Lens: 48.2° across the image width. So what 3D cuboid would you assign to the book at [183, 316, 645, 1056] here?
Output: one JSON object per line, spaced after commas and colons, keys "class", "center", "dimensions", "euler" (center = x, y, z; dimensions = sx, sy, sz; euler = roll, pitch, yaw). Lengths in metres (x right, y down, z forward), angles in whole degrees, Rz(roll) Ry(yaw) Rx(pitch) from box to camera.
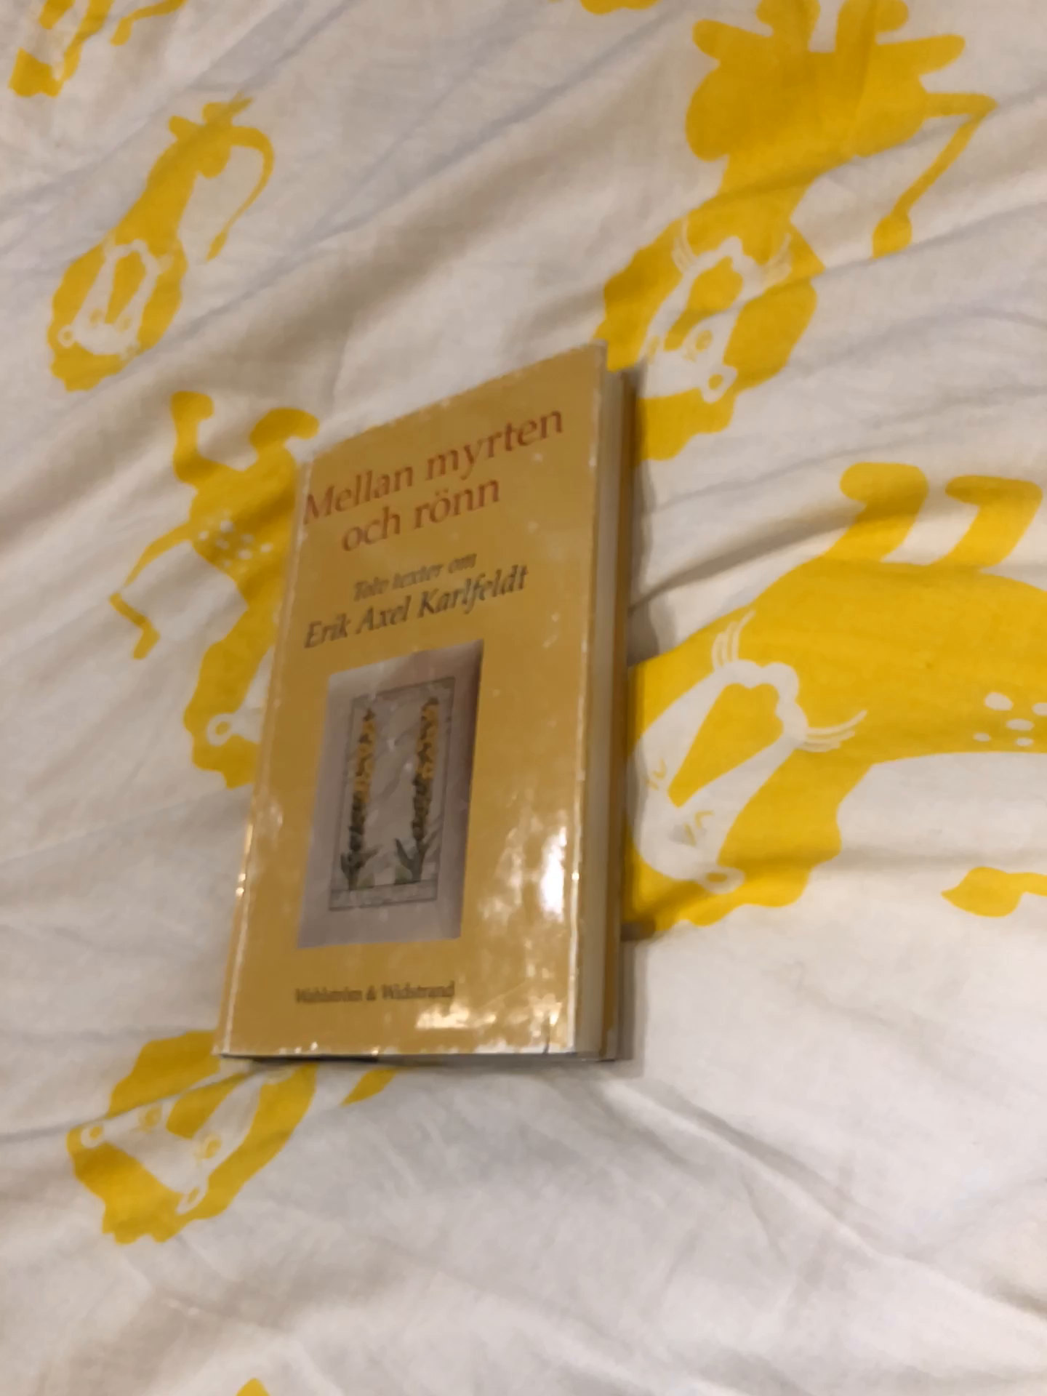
{"class": "book", "center": [-0.031, -0.002, 0.371], "dimensions": [0.142, 0.030, 0.215], "euler": [-14, 61, 32]}
